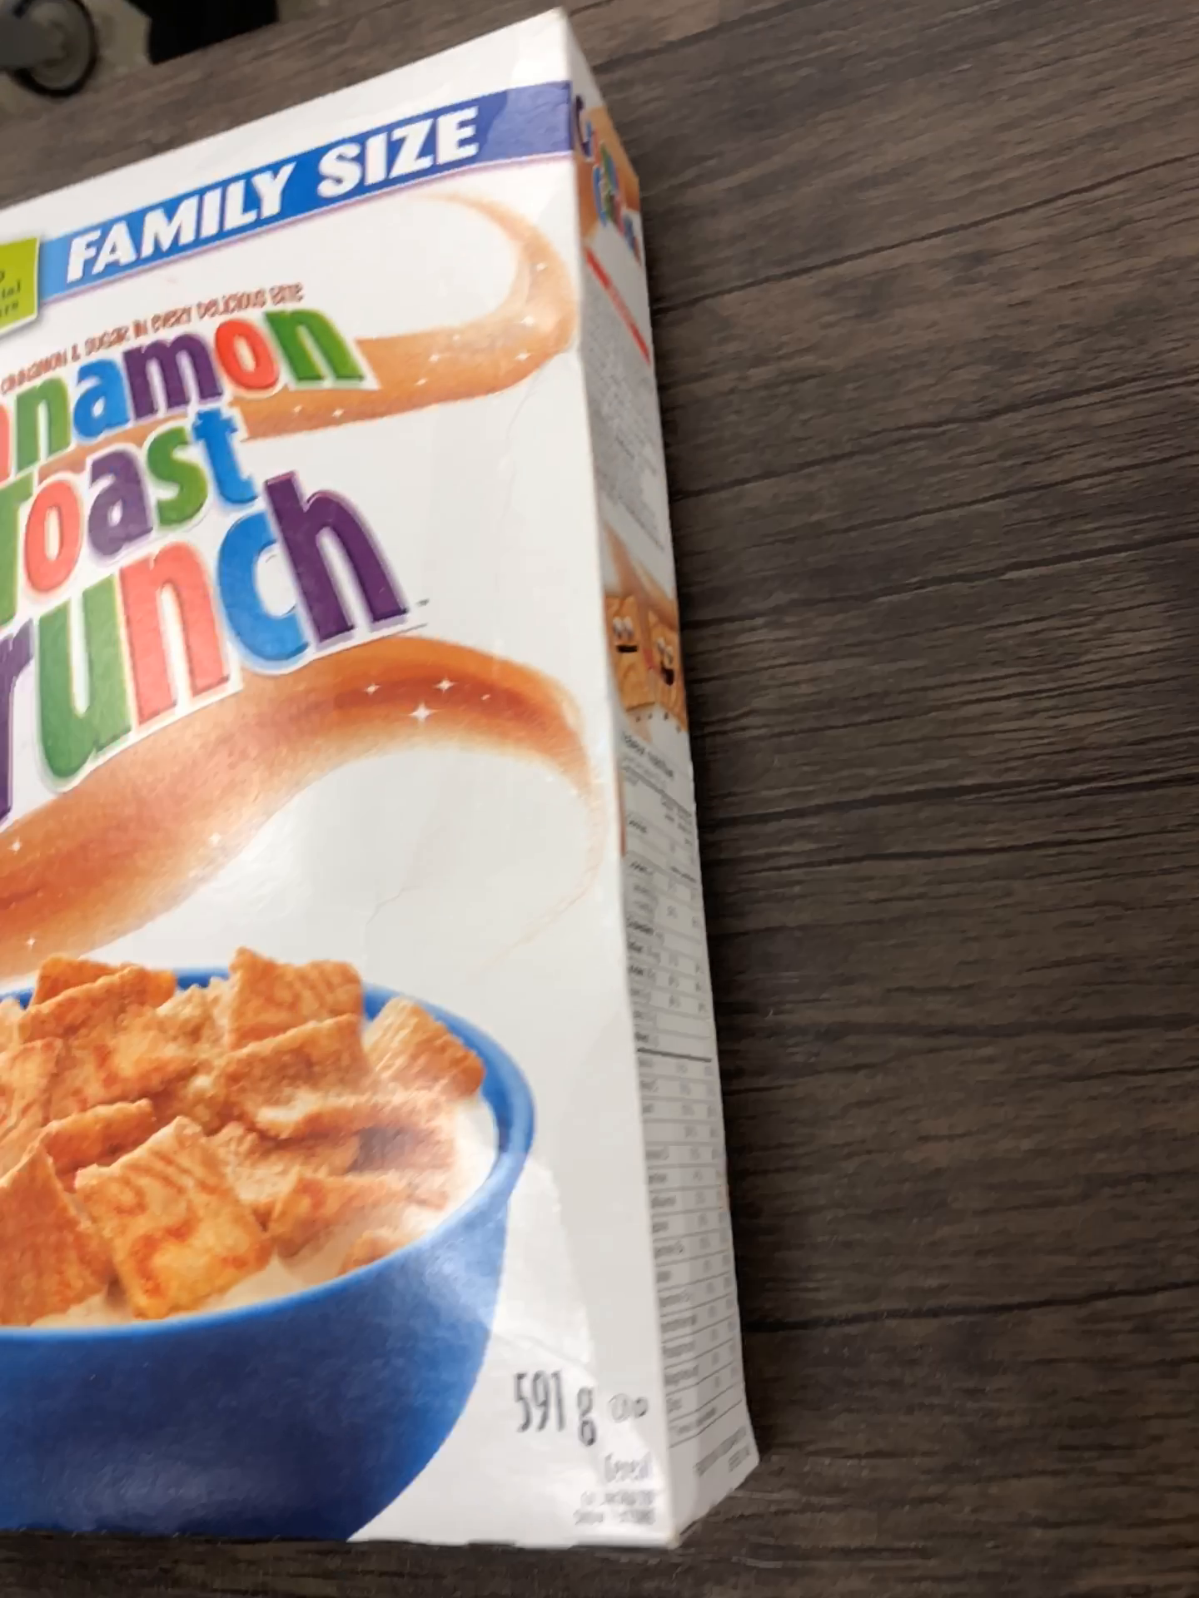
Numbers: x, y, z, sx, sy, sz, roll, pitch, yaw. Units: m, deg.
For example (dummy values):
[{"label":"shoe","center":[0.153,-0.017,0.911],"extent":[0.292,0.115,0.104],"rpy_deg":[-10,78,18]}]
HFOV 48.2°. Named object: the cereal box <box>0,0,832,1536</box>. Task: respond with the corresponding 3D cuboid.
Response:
[{"label":"cereal box","center":[-0.091,-0.022,0.343],"extent":[0.251,0.070,0.360],"rpy_deg":[-9,72,16]}]
